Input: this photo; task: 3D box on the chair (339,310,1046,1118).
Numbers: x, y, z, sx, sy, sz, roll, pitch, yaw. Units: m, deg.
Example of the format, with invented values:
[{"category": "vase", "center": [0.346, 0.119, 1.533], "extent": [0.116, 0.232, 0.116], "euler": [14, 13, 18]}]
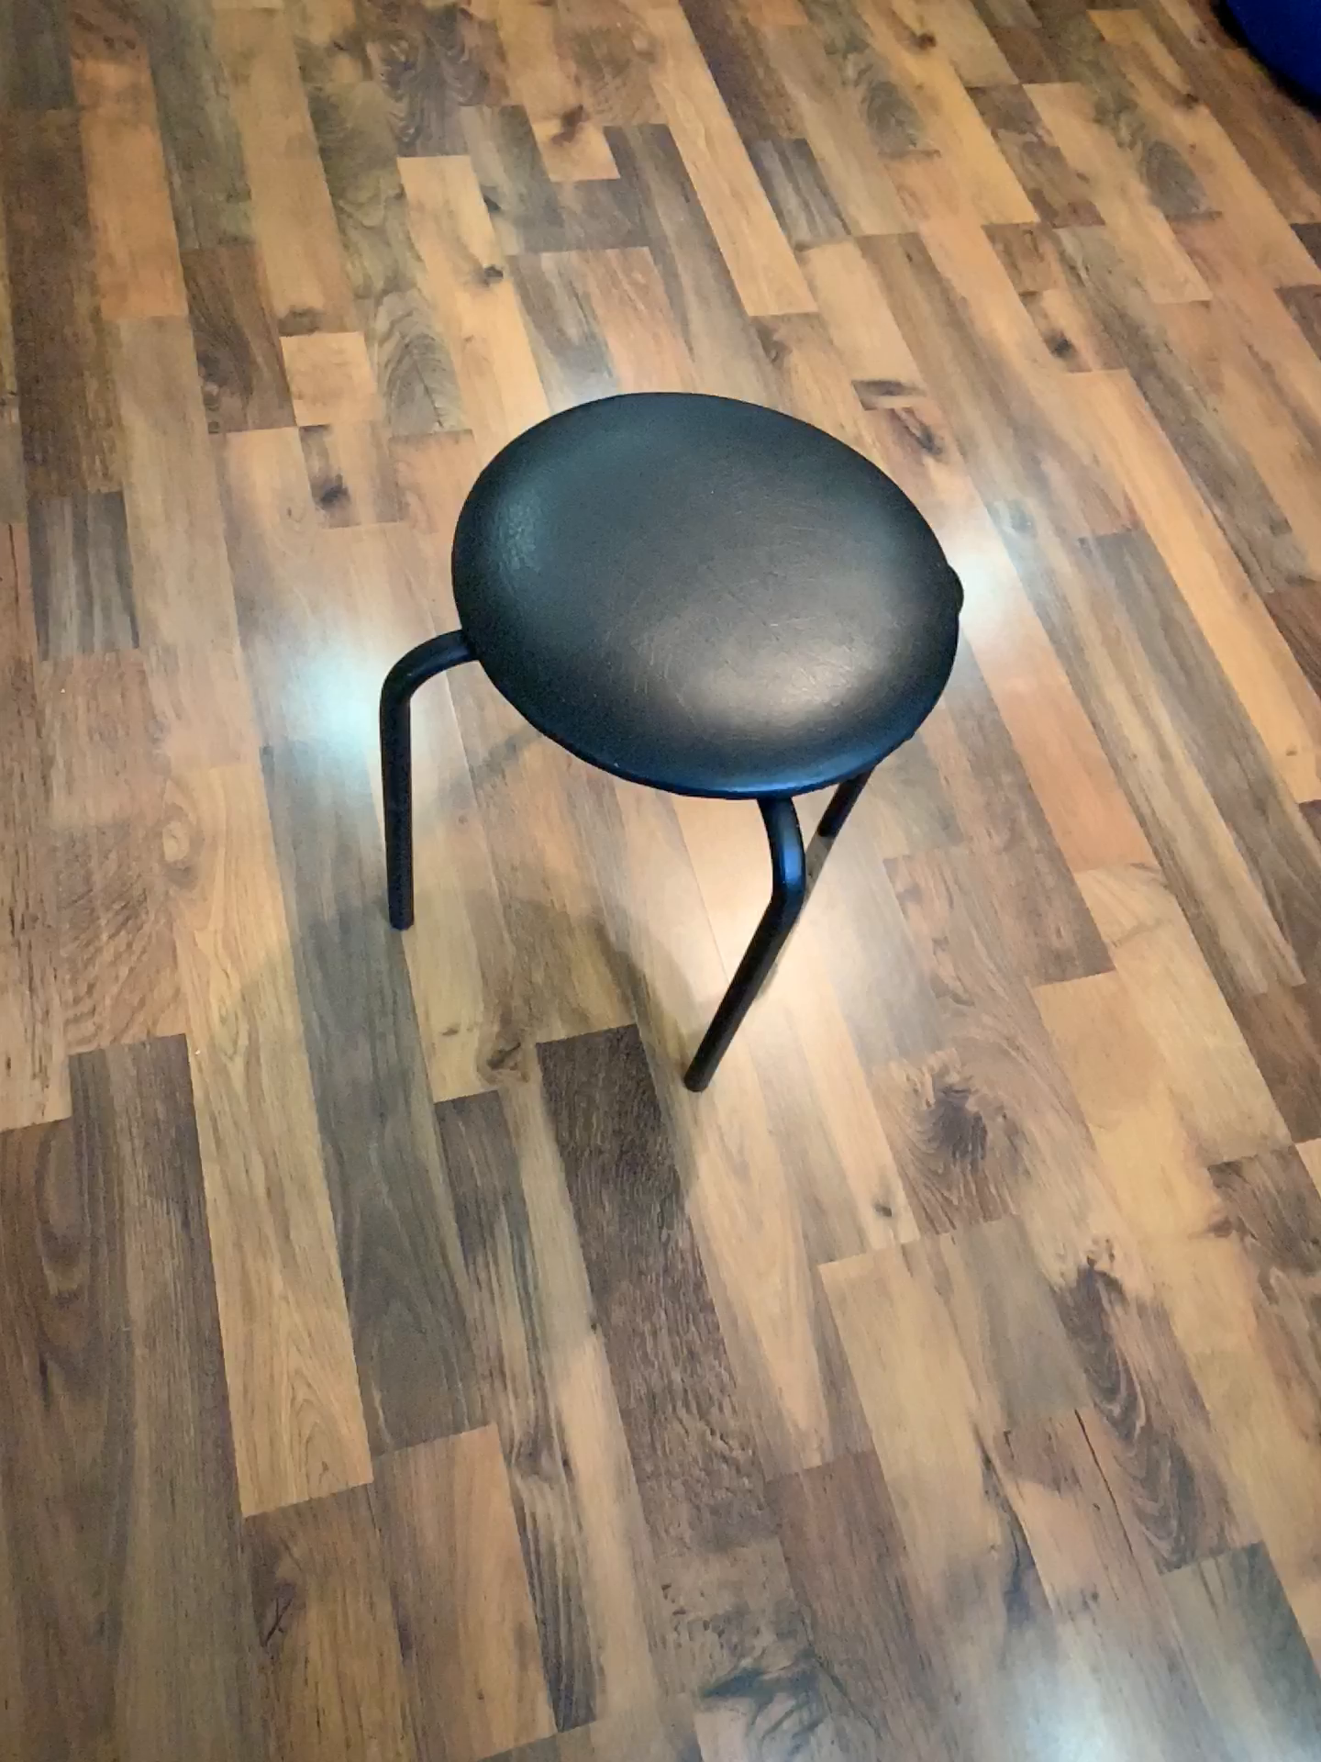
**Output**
[{"category": "chair", "center": [0.010, -0.105, 1.057], "extent": [0.350, 0.427, 0.332], "euler": [27, 61, 7]}]
